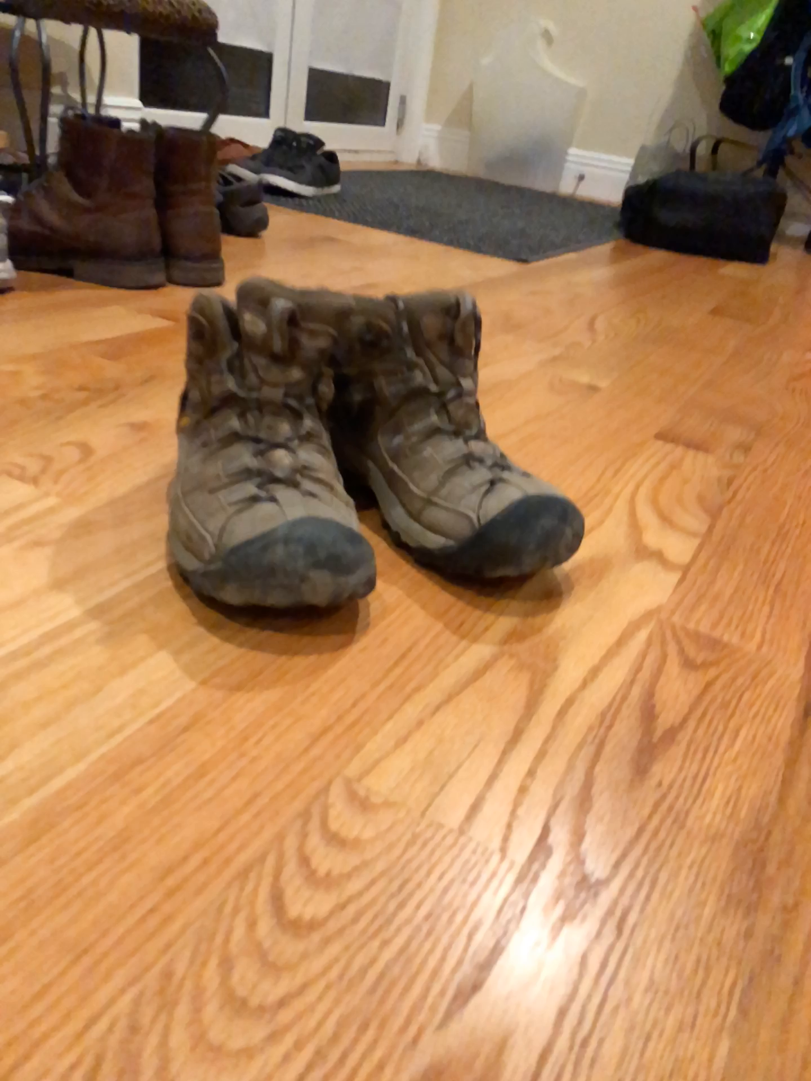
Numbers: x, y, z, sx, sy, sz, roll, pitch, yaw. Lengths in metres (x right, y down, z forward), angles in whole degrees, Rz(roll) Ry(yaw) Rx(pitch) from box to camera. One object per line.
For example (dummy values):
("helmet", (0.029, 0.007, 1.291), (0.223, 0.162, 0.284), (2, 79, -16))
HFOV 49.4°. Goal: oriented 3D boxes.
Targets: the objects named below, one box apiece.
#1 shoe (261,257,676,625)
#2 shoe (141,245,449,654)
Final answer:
("shoe", (0.019, -0.081, 0.568), (0.108, 0.139, 0.260), (-10, 32, -34))
("shoe", (-0.084, -0.070, 0.510), (0.107, 0.139, 0.261), (-1, 28, -22))
